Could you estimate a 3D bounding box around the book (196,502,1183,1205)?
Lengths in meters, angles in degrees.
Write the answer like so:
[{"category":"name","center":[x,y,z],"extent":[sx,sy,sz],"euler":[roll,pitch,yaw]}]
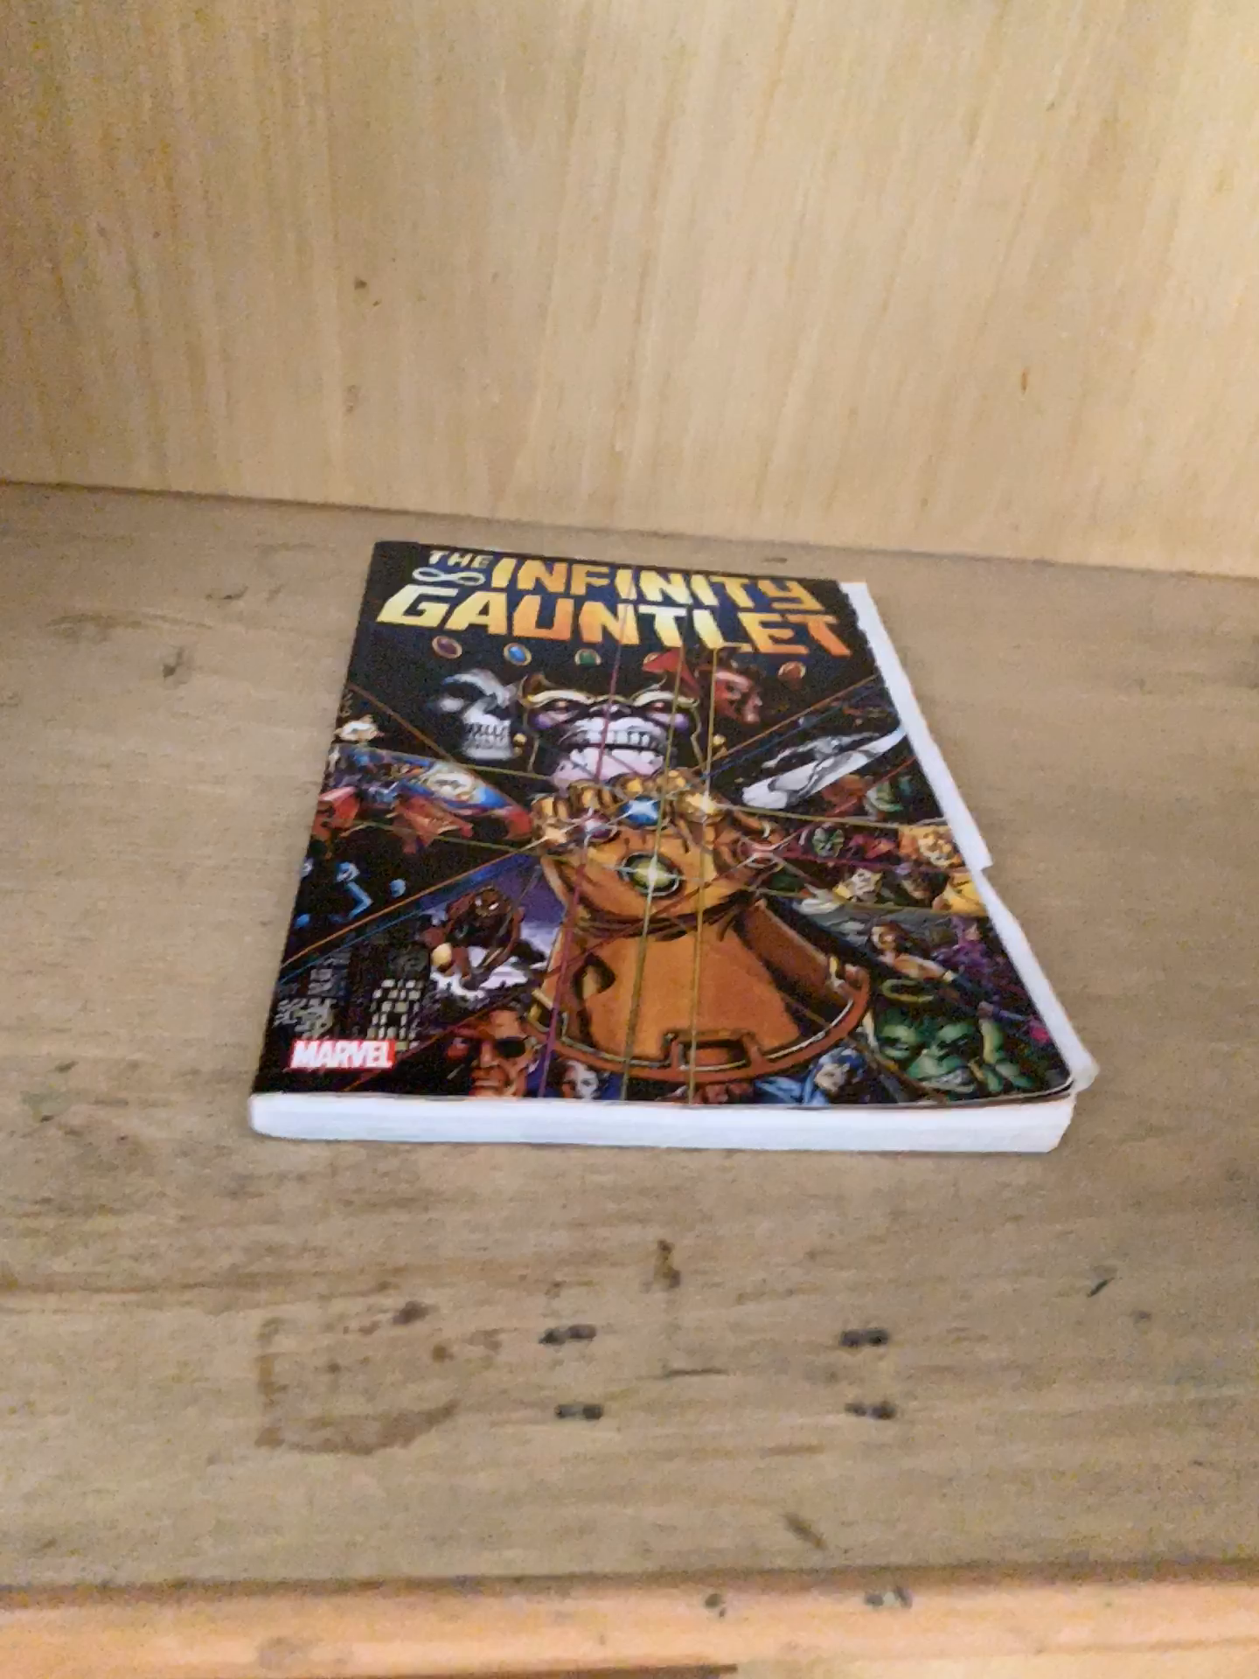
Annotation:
[{"category":"book","center":[0.006,-0.020,0.366],"extent":[0.190,0.030,0.272],"euler":[3,36,-6]}]
